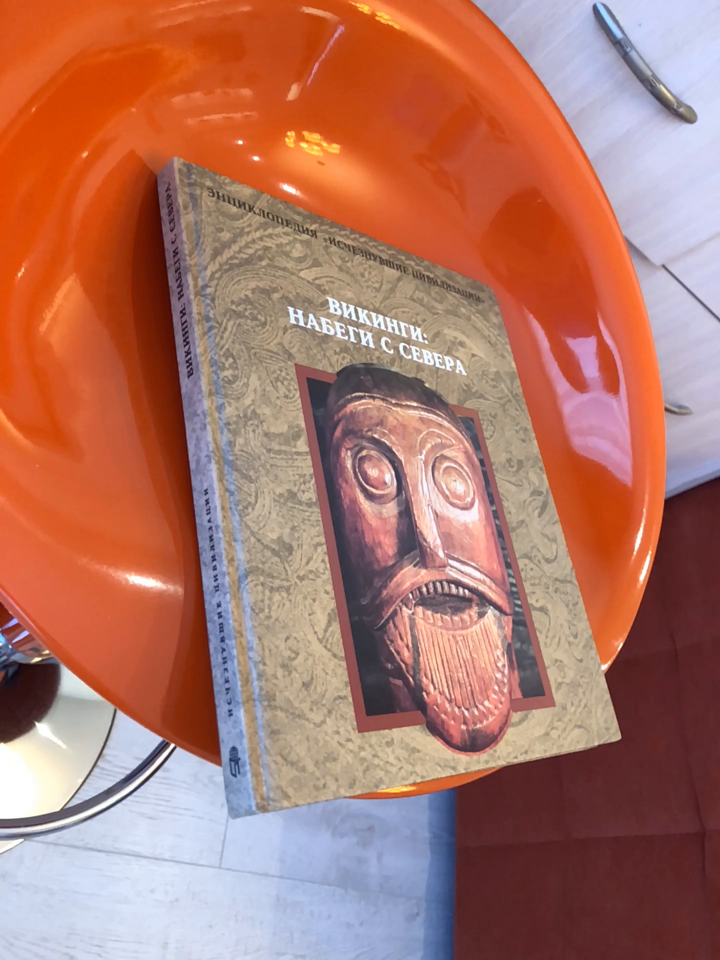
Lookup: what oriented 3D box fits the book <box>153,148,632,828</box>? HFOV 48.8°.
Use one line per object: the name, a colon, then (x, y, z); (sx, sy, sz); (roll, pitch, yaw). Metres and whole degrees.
book: (0.020, -0.001, 0.360); (0.216, 0.022, 0.261); (9, 61, -41)
